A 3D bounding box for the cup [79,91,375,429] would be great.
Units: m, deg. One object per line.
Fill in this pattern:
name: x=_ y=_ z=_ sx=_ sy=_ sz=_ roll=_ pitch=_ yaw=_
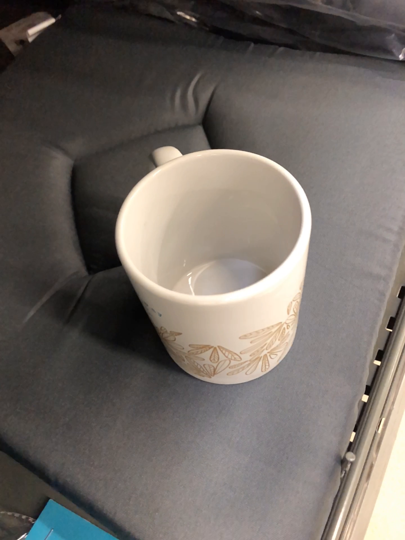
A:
cup: x=0.008 y=-0.003 z=0.237 sx=0.090 sy=0.100 sz=0.120 roll=-21 pitch=58 yaw=-5
